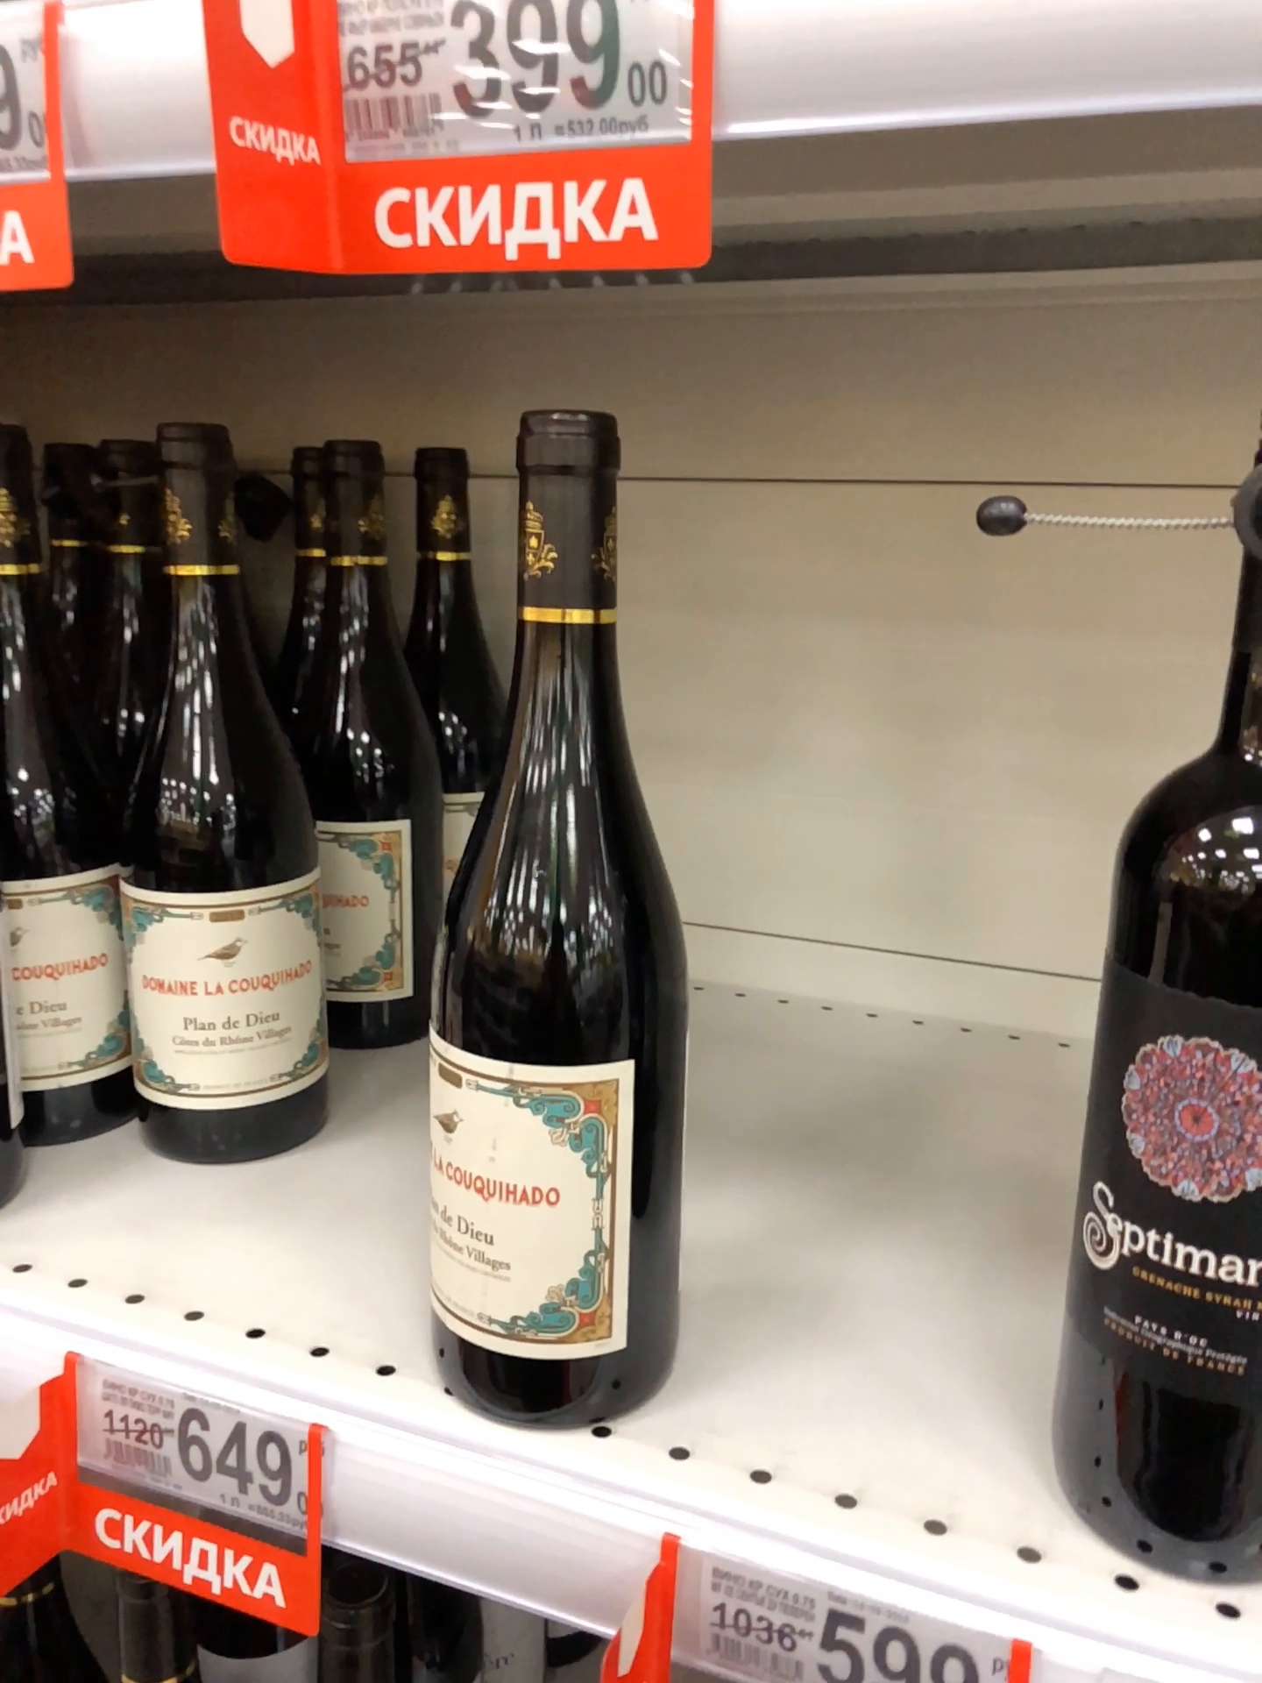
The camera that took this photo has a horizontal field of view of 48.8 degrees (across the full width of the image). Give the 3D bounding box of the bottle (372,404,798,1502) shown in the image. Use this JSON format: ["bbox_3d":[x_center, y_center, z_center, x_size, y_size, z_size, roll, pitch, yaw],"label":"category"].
[{"bbox_3d":[-0.016,0.028,0.424,0.080,0.302,0.090,-11,18,-41],"label":"bottle"}]
